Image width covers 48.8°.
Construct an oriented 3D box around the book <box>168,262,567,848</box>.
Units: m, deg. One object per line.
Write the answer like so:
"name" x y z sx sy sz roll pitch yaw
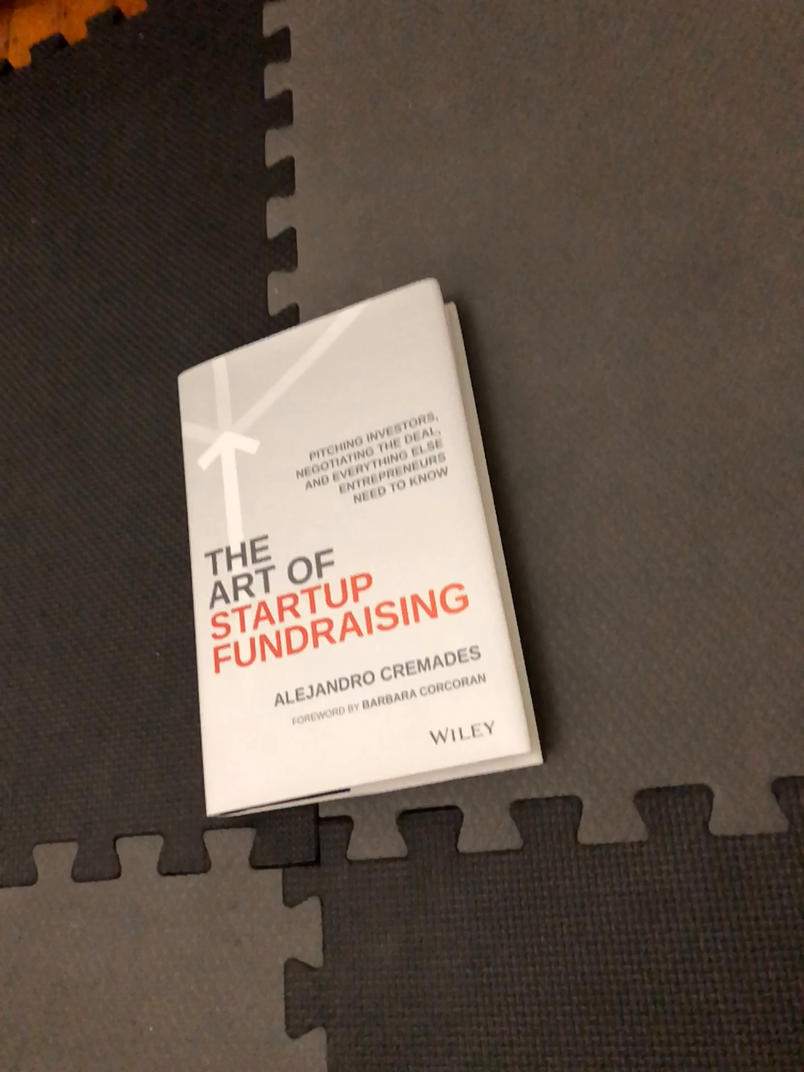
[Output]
"book" -0.030 0.007 0.426 0.170 0.030 0.251 -14 68 19
